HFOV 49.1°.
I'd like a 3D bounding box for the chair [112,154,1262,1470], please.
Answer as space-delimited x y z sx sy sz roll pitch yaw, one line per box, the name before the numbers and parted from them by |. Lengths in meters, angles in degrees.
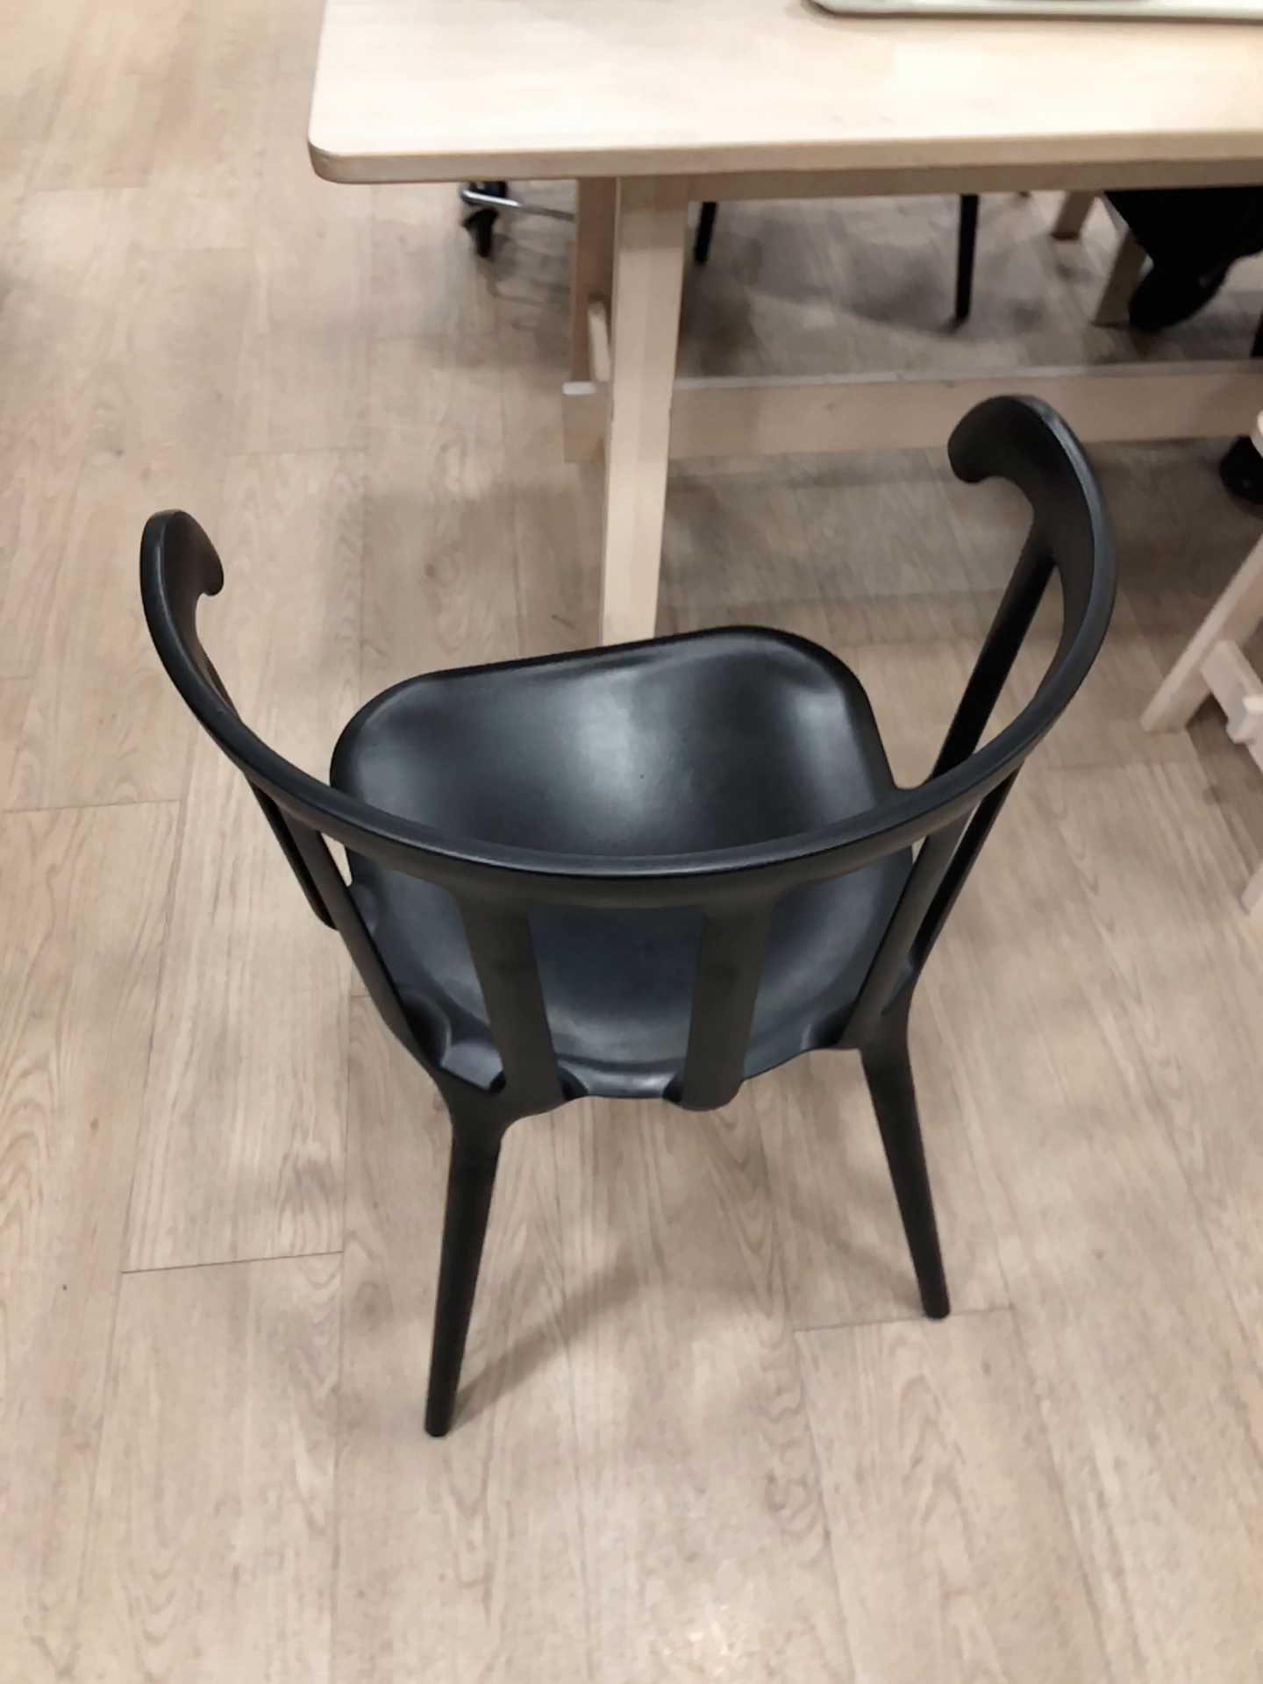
chair | 0.009 0.015 0.970 0.530 0.686 0.533 -10 53 -8
